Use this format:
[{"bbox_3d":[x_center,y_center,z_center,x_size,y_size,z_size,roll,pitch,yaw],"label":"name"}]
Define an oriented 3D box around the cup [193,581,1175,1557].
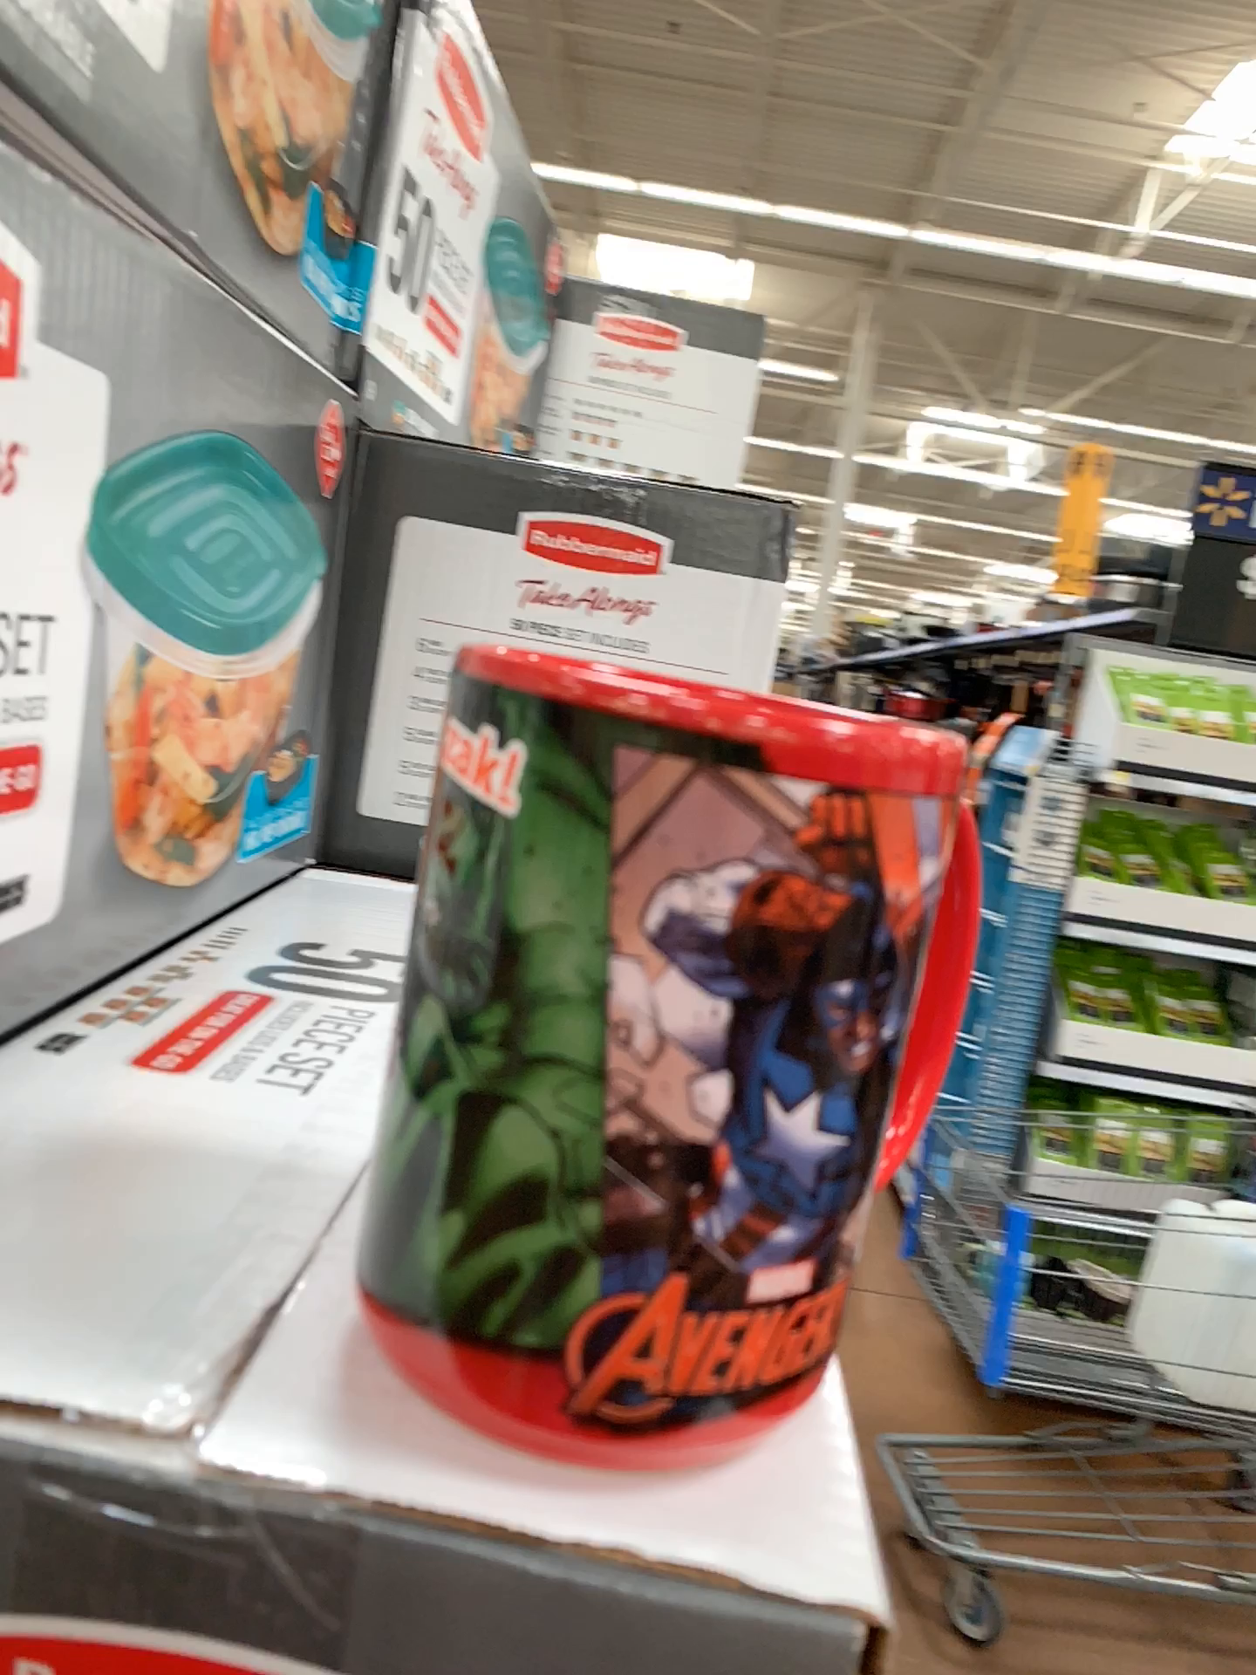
[{"bbox_3d":[0.006,0.027,0.232,0.119,0.114,0.100,4,14,-38],"label":"cup"}]
